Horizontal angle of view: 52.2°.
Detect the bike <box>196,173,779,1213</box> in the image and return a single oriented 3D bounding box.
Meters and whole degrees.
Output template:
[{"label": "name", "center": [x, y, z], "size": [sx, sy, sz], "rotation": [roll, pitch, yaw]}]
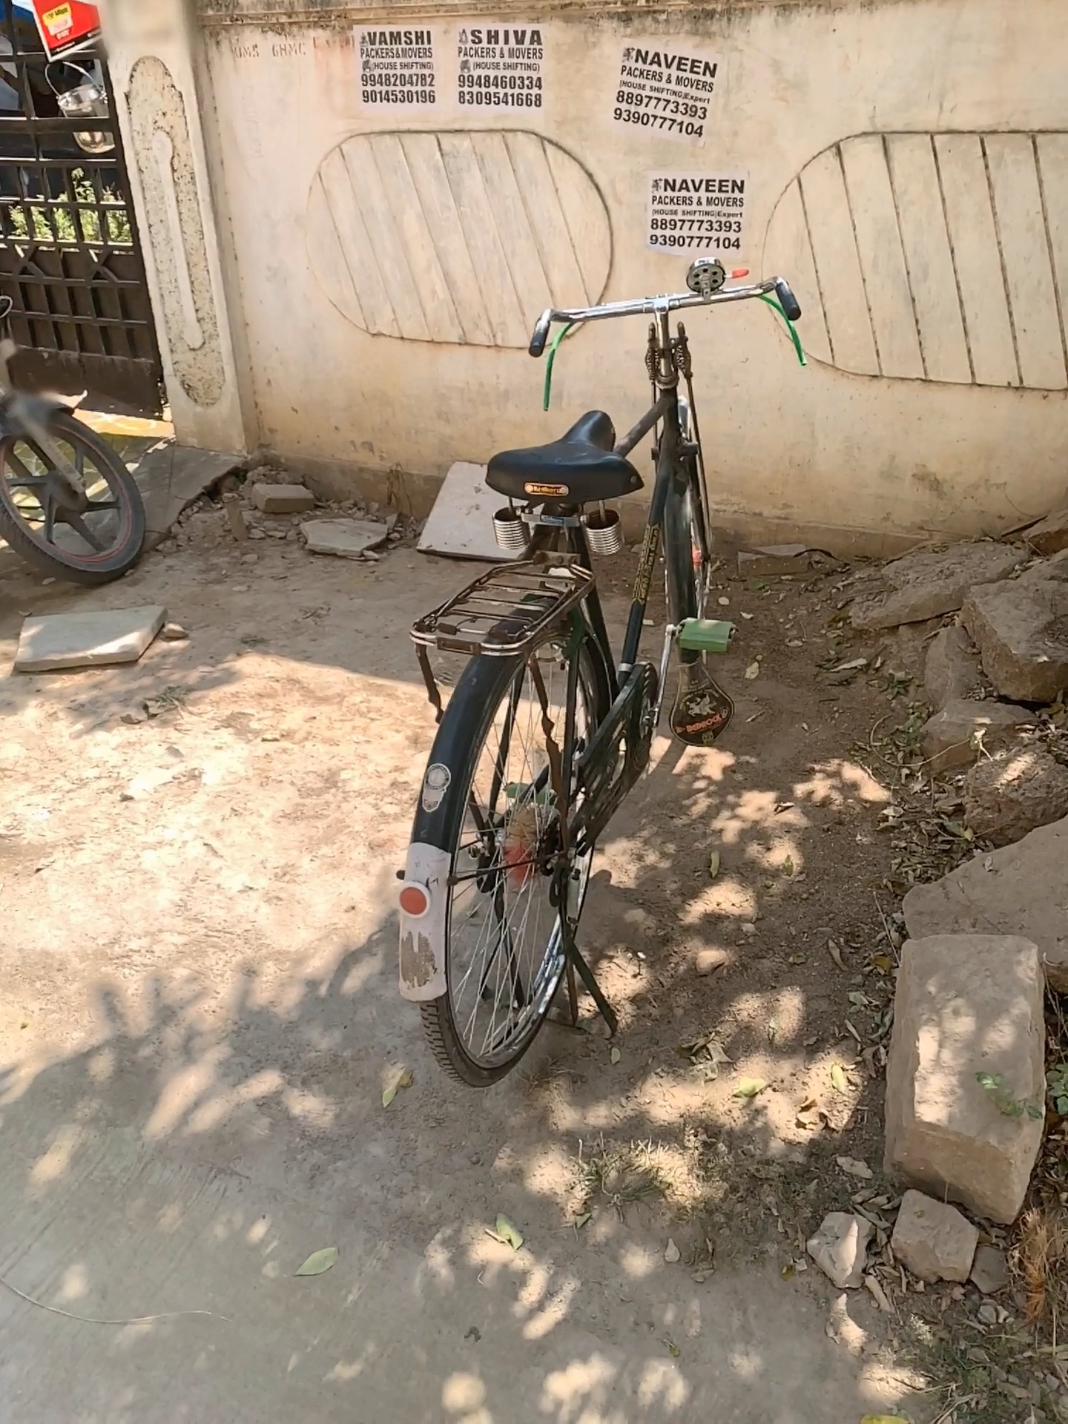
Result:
[{"label": "bike", "center": [0.090, -0.262, 1.964], "size": [0.465, 0.994, 1.660], "rotation": [7, 35, 14]}]
